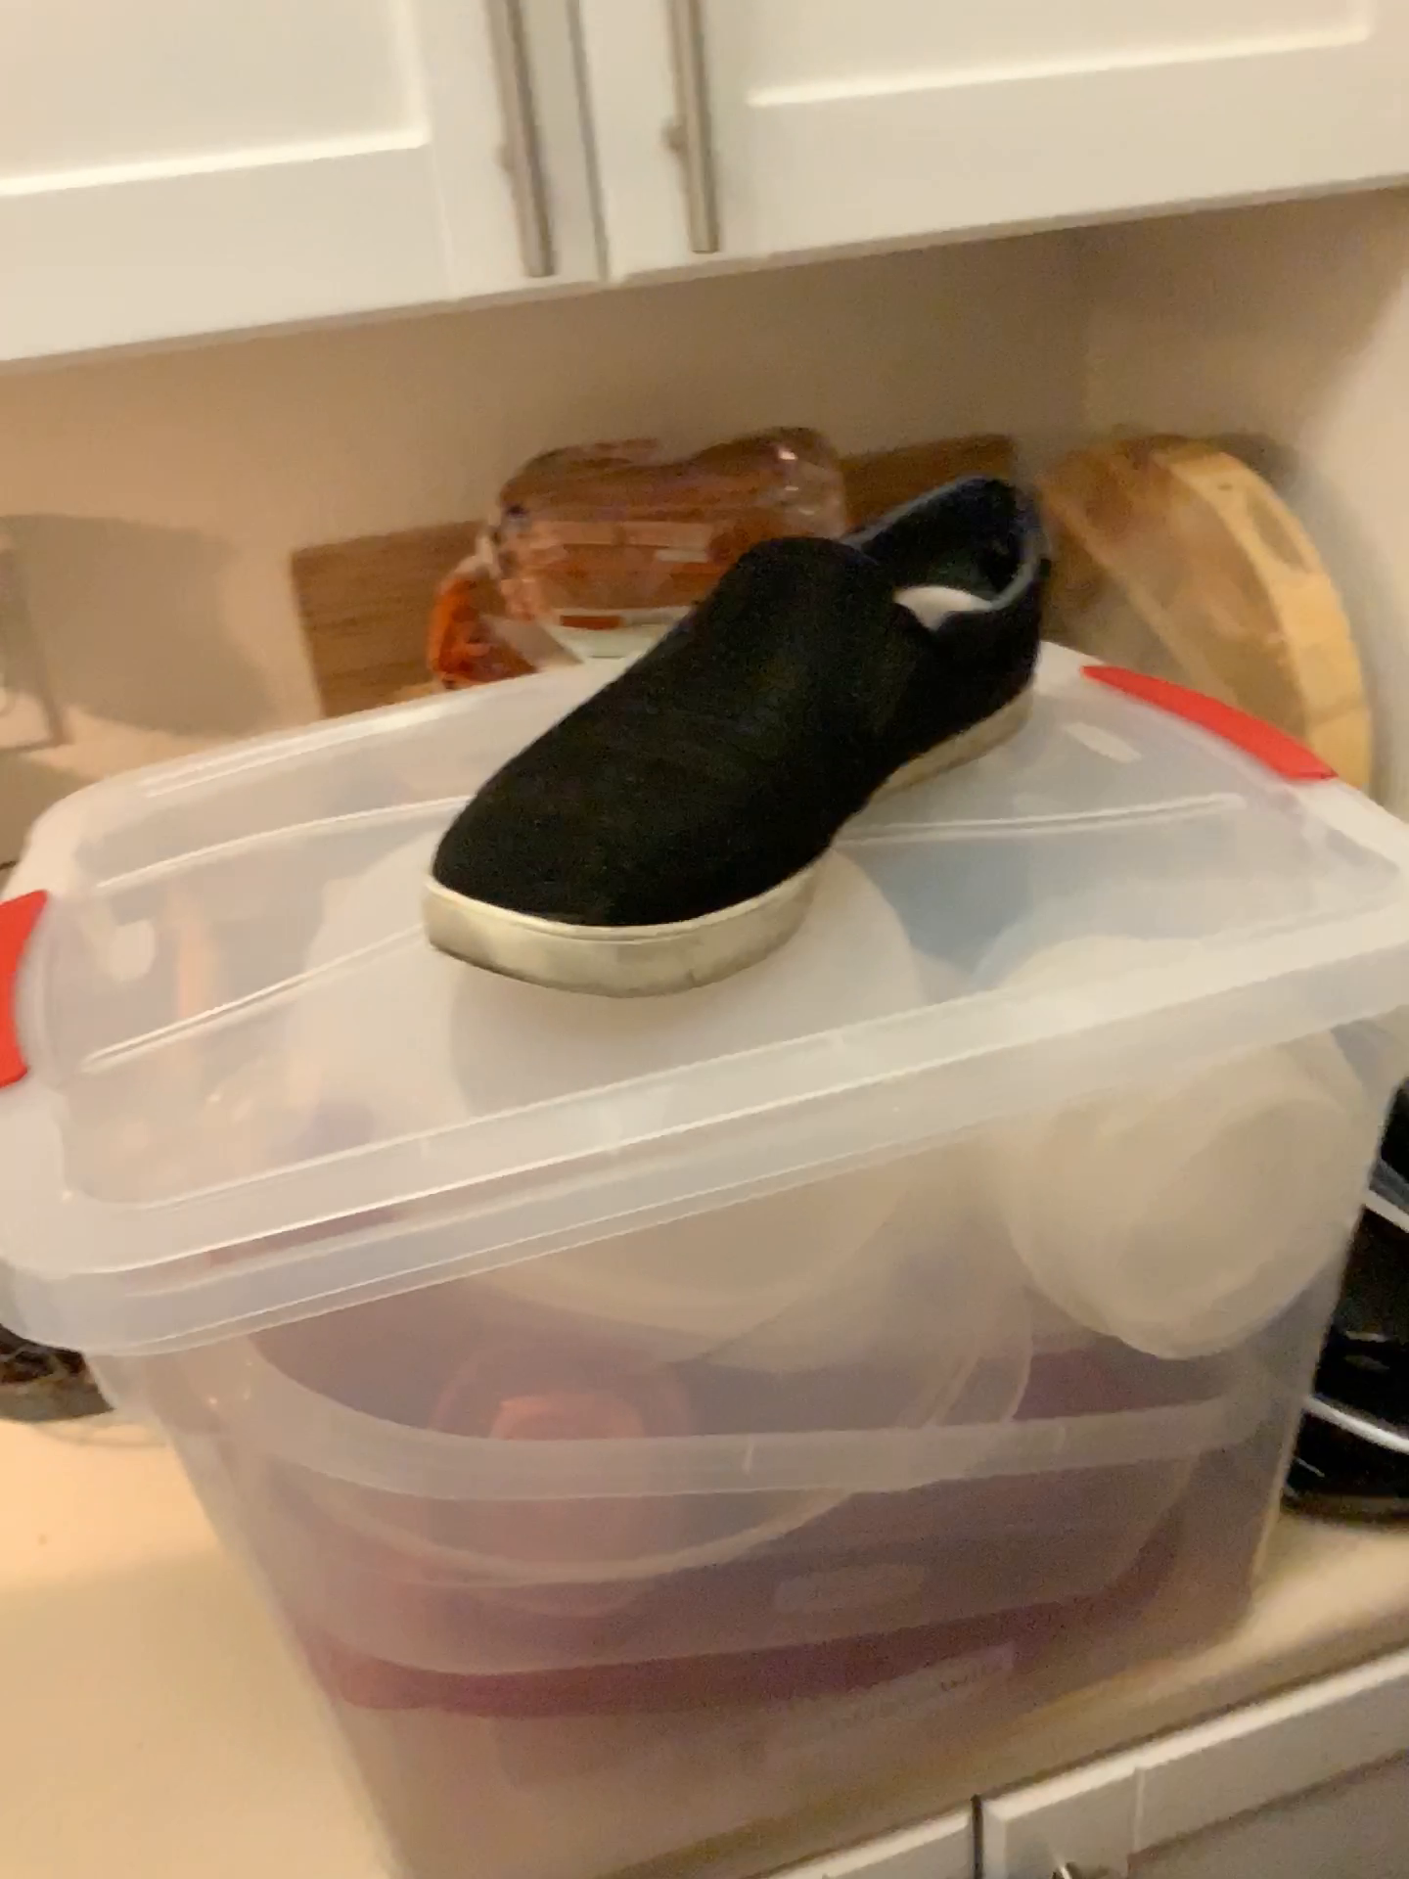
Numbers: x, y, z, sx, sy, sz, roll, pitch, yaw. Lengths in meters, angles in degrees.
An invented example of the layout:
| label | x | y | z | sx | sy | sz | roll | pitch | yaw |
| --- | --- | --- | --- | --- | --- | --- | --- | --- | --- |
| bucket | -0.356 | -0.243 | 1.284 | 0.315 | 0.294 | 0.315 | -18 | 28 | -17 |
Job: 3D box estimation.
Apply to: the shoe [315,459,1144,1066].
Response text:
| label | x | y | z | sx | sy | sz | roll | pitch | yaw |
| --- | --- | --- | --- | --- | --- | --- | --- | --- | --- |
| shoe | 0.028 | -0.072 | 0.459 | 0.100 | 0.070 | 0.270 | 14 | 34 | 33 |
